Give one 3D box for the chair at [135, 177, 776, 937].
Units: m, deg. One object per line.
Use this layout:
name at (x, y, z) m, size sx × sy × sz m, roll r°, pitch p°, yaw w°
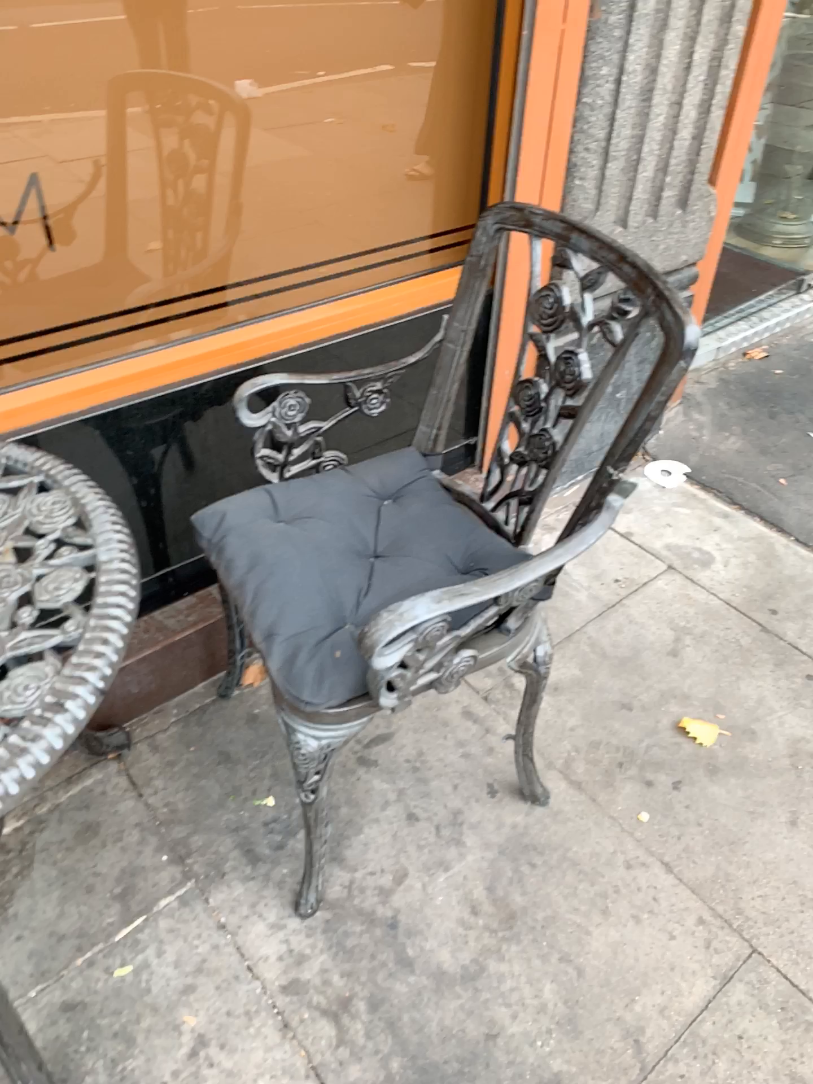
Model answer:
chair at (0.000, 0.002, 1.177) m, size 0.551 × 0.852 × 0.494 m, roll -16°, pitch 42°, yaw -28°
